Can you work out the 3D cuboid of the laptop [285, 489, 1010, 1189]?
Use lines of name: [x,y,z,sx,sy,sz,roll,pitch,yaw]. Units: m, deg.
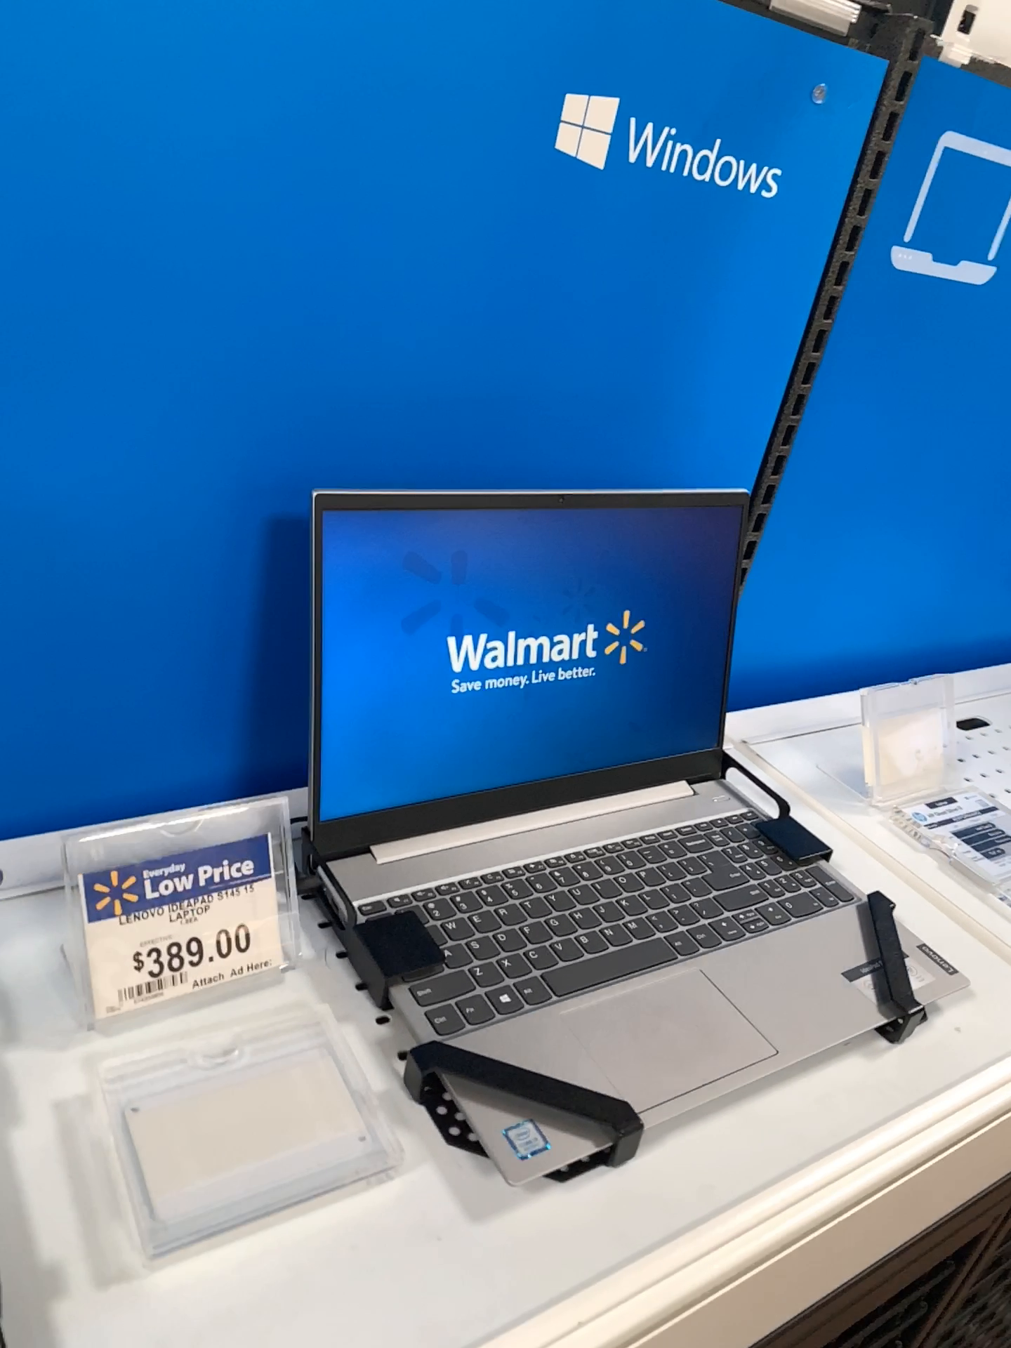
laptop: [0.096,0.048,0.627,0.351,0.217,0.299,-7,33,-33]
